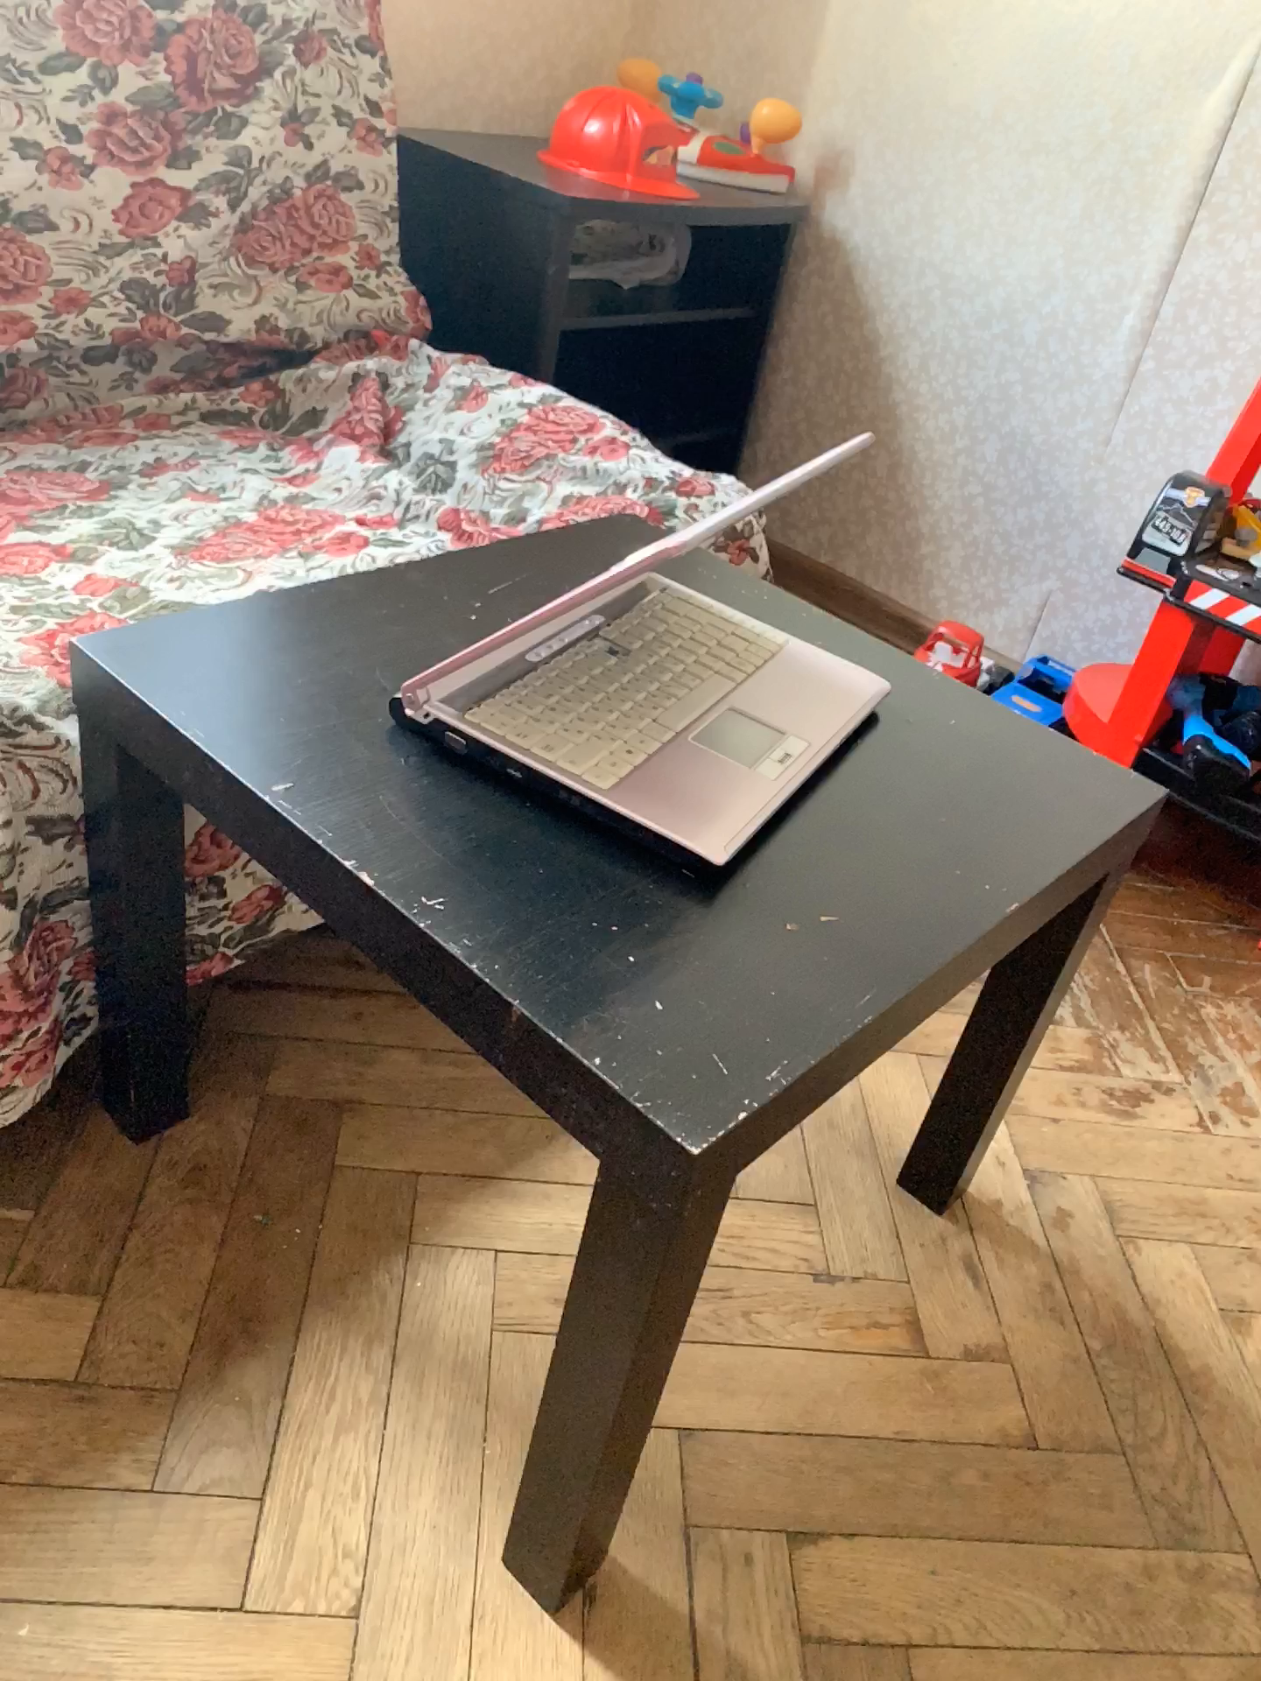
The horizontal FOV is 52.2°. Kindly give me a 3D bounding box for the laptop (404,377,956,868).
[{"bbox_3d":[0.042,-0.163,0.841,0.225,0.156,0.307,26,36,17],"label":"laptop"}]
